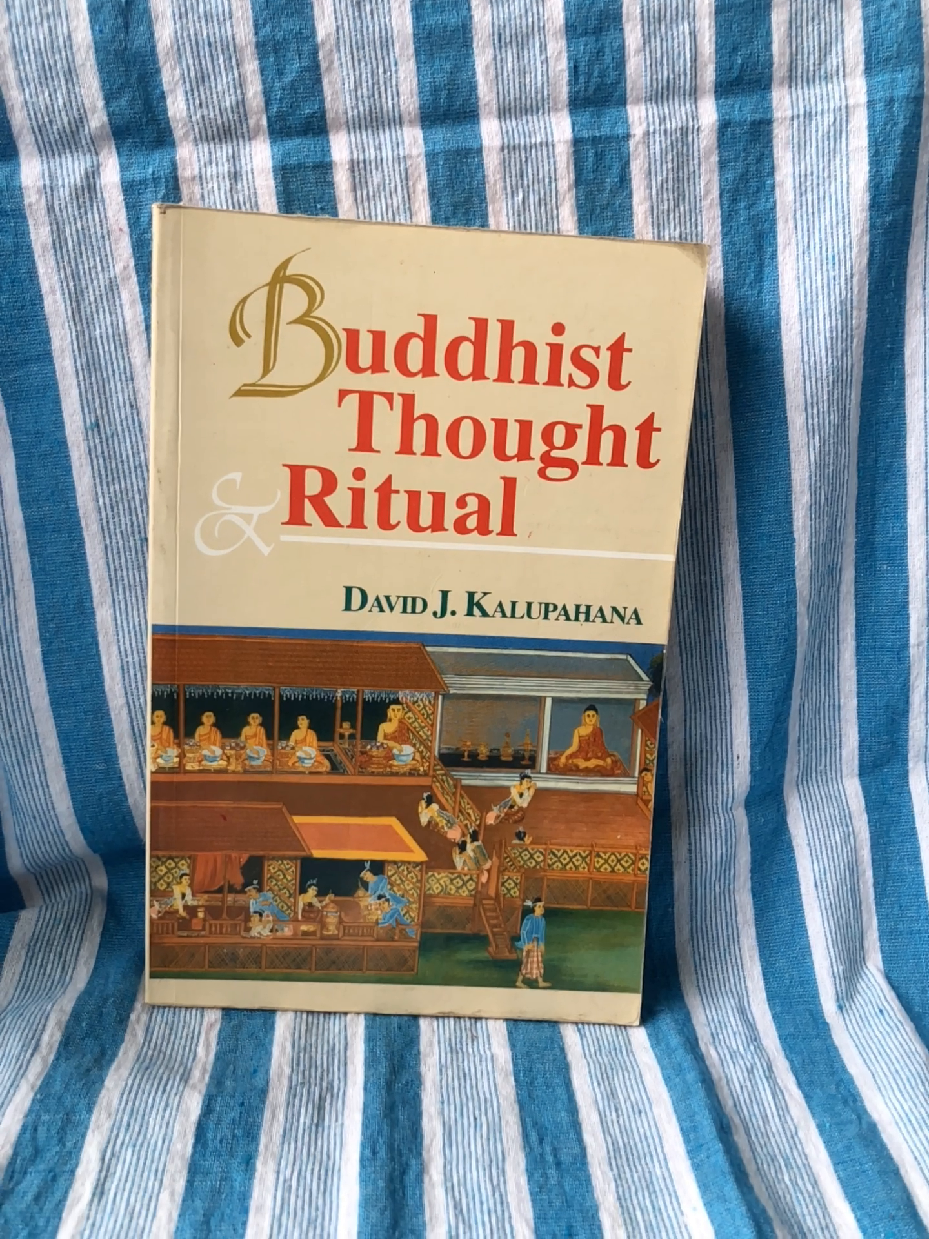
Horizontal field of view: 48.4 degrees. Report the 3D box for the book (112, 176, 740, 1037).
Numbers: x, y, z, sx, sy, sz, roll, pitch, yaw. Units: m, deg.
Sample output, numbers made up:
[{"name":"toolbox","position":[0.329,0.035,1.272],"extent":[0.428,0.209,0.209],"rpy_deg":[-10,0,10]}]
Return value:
[{"name":"book","position":[-0.015,0.005,0.278],"extent":[0.150,0.219,0.020],"rpy_deg":[3,11,-3]}]
